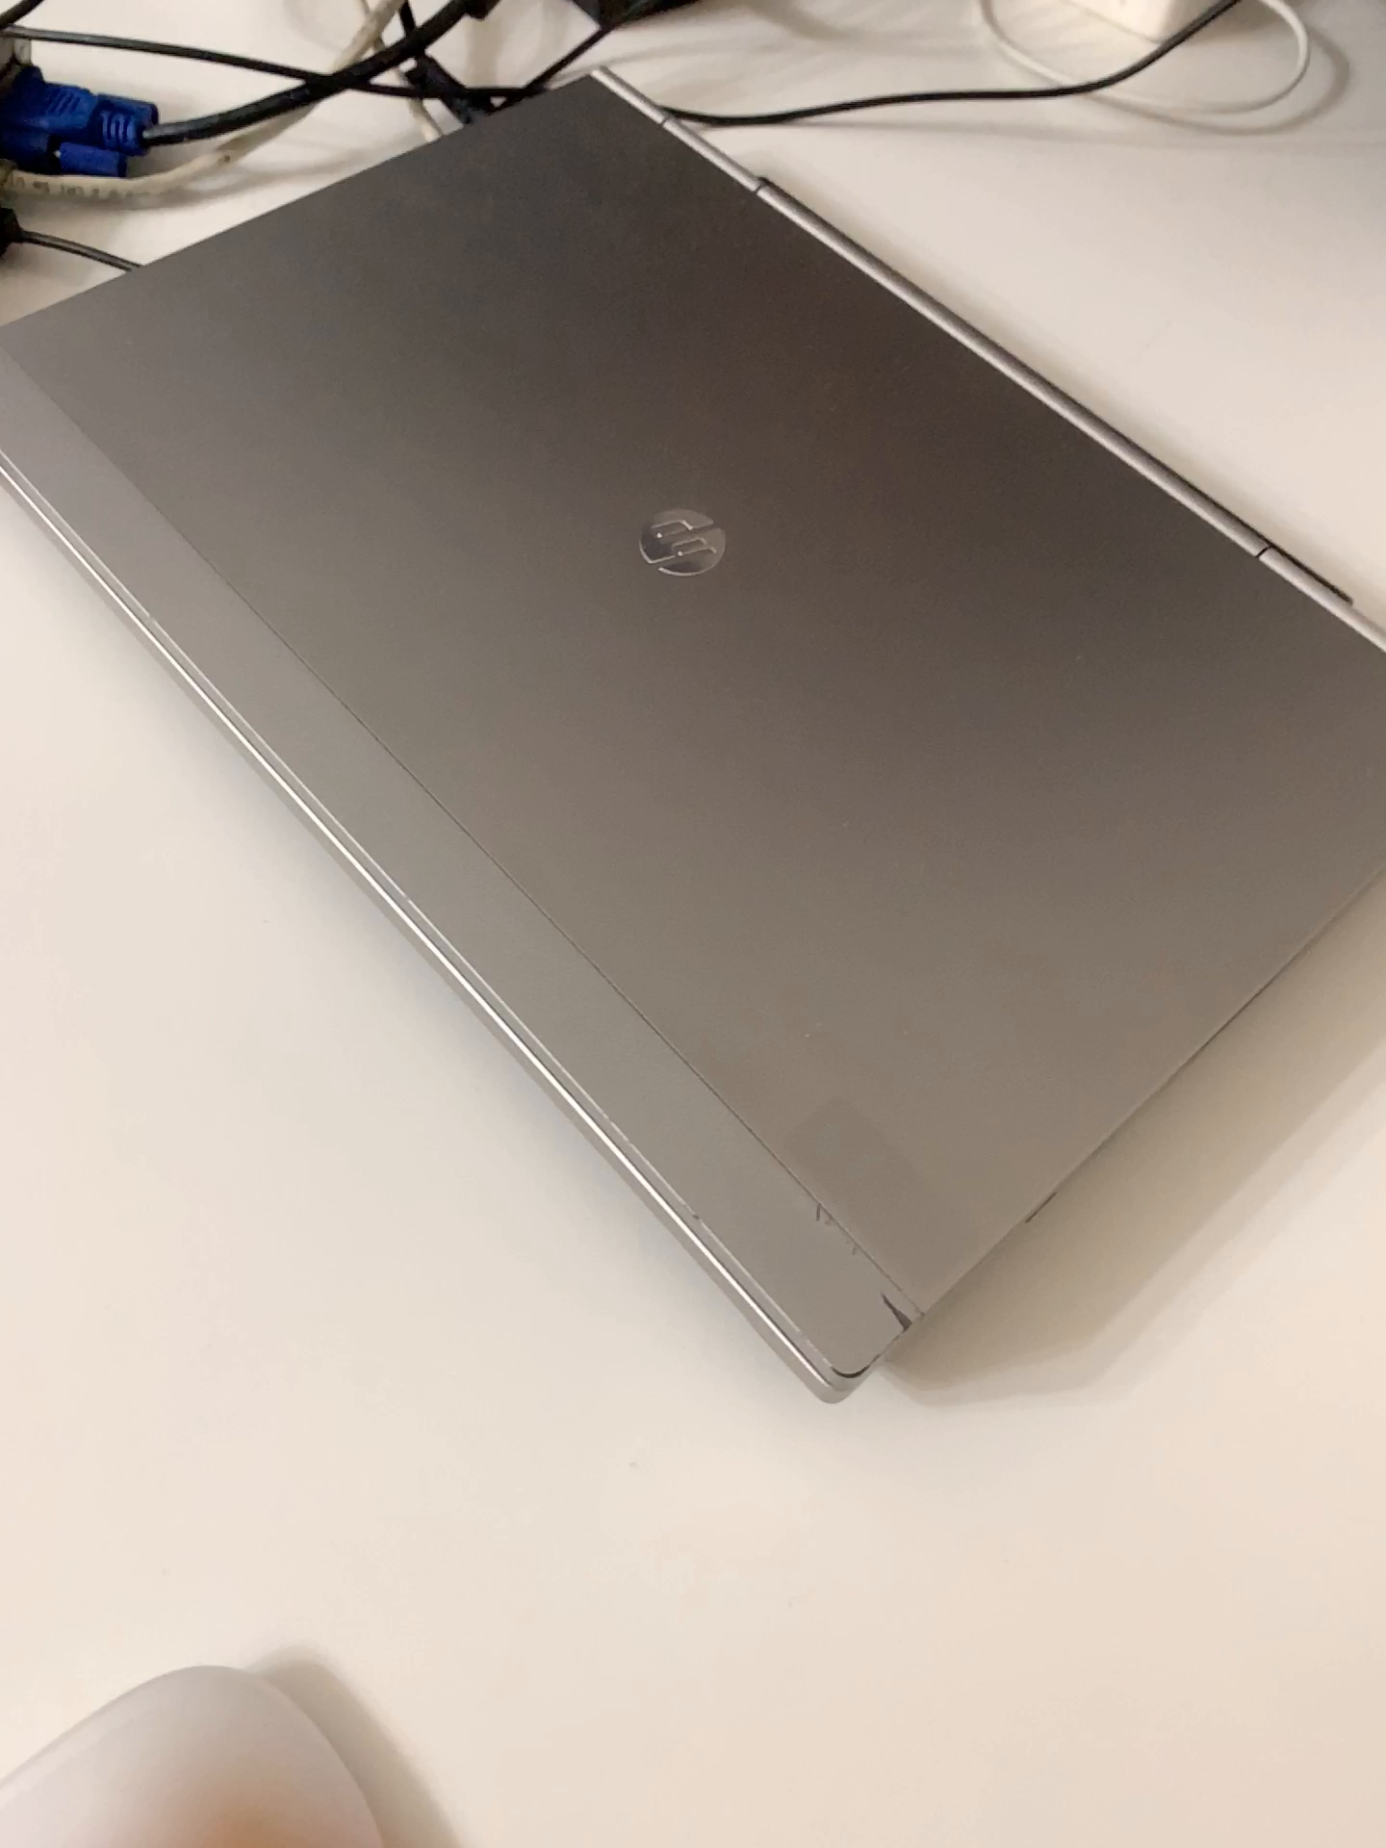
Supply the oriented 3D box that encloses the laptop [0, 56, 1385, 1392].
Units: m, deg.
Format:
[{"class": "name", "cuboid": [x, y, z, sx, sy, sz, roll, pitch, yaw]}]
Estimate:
[{"class": "laptop", "cuboid": [0.000, -0.079, 0.319, 0.192, 0.016, 0.292, -38, 69, -19]}]
